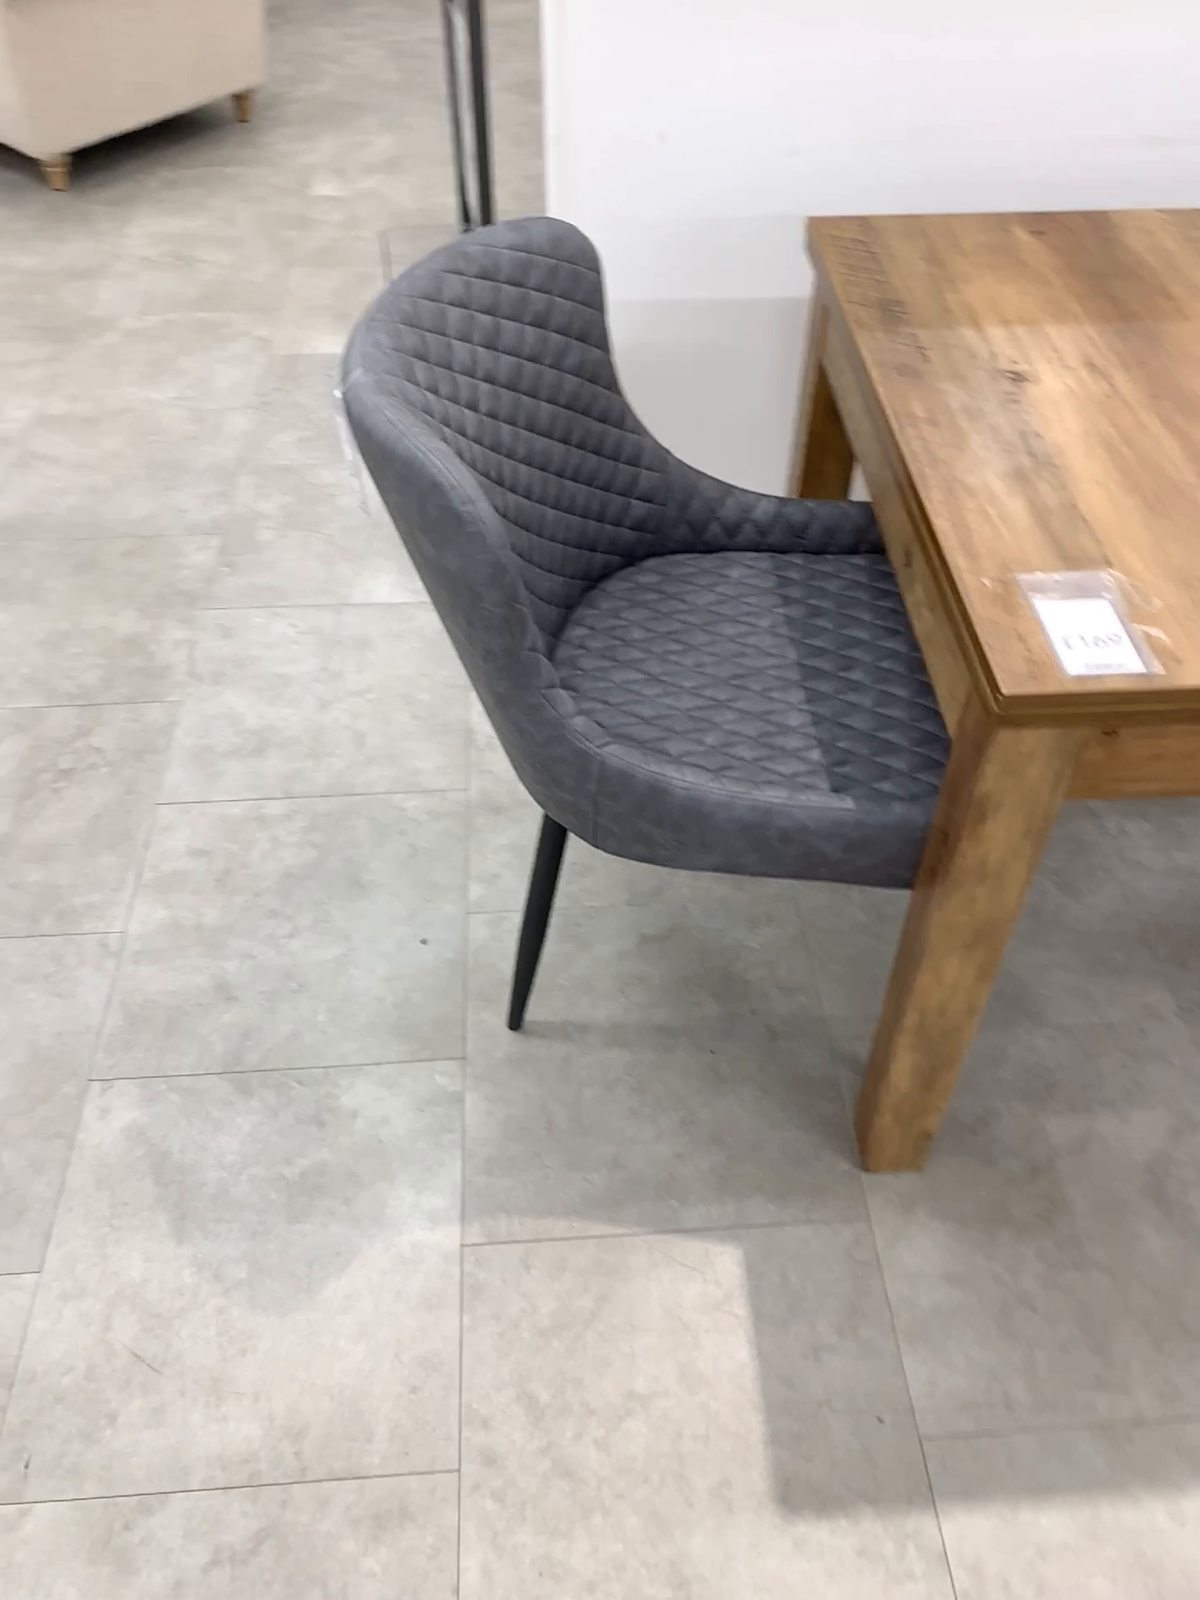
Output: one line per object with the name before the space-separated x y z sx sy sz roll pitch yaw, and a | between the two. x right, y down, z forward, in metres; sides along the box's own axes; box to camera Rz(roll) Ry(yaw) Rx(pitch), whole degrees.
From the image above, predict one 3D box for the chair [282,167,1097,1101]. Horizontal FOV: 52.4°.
chair | 0.084 -0.145 1.284 0.550 0.775 0.532 5 47 5
